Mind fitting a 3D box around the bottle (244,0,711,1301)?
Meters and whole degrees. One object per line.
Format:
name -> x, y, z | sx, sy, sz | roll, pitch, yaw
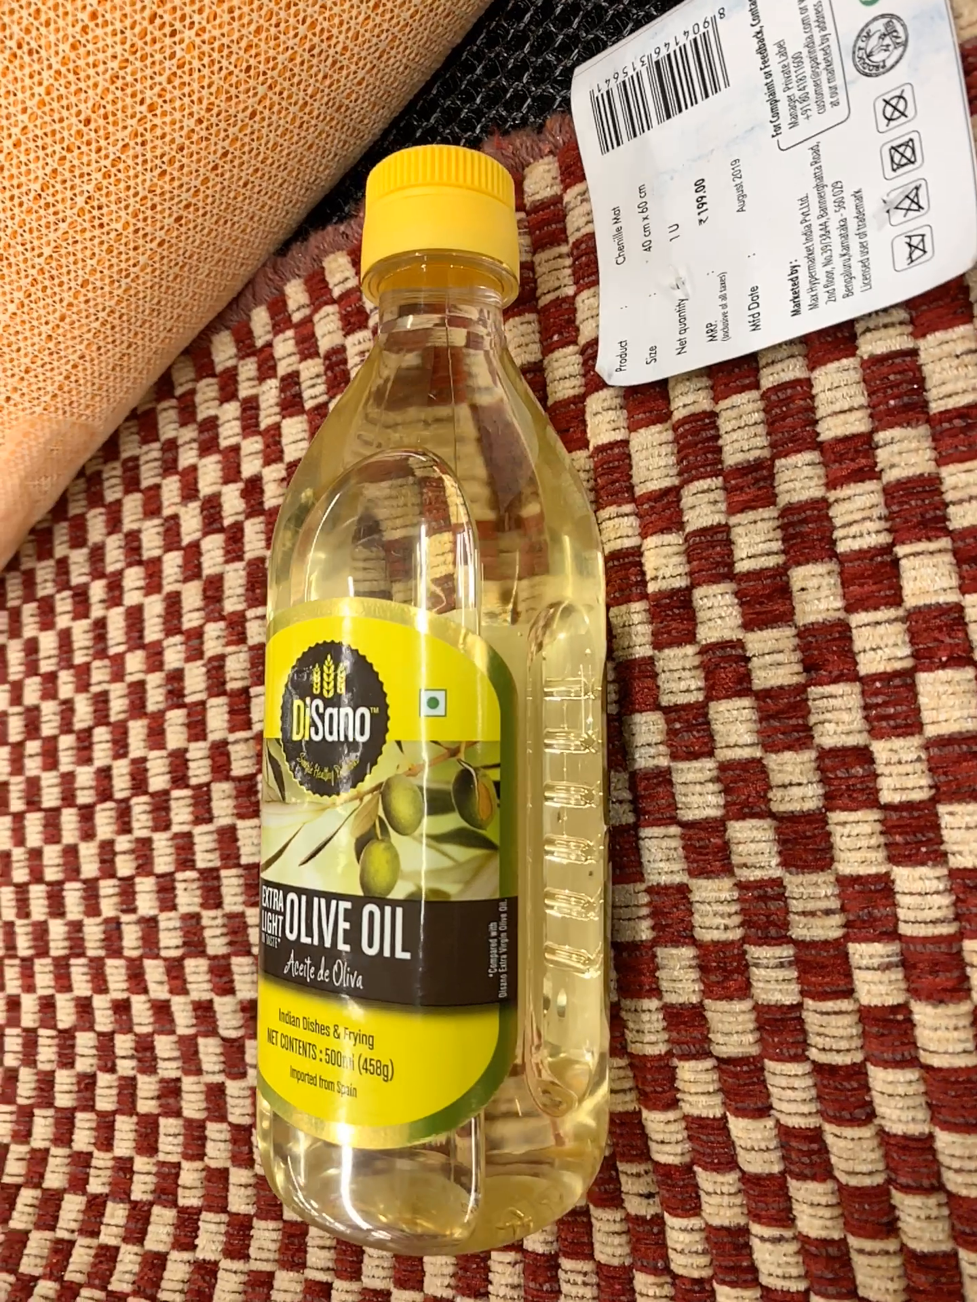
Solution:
bottle -> -0.002, -0.005, 0.206 | 0.070, 0.060, 0.230 | -3, 86, 35
